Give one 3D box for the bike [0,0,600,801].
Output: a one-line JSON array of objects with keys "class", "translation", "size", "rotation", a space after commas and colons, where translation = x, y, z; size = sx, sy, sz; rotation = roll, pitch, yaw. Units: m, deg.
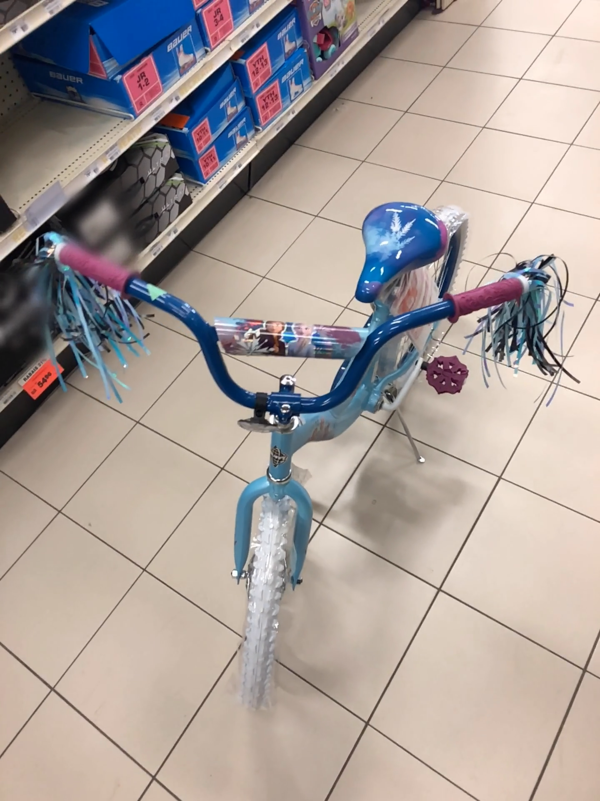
[{"class": "bike", "translation": [0.135, -0.068, 1.175], "size": [0.642, 0.954, 1.177], "rotation": [15, 57, 22]}]
